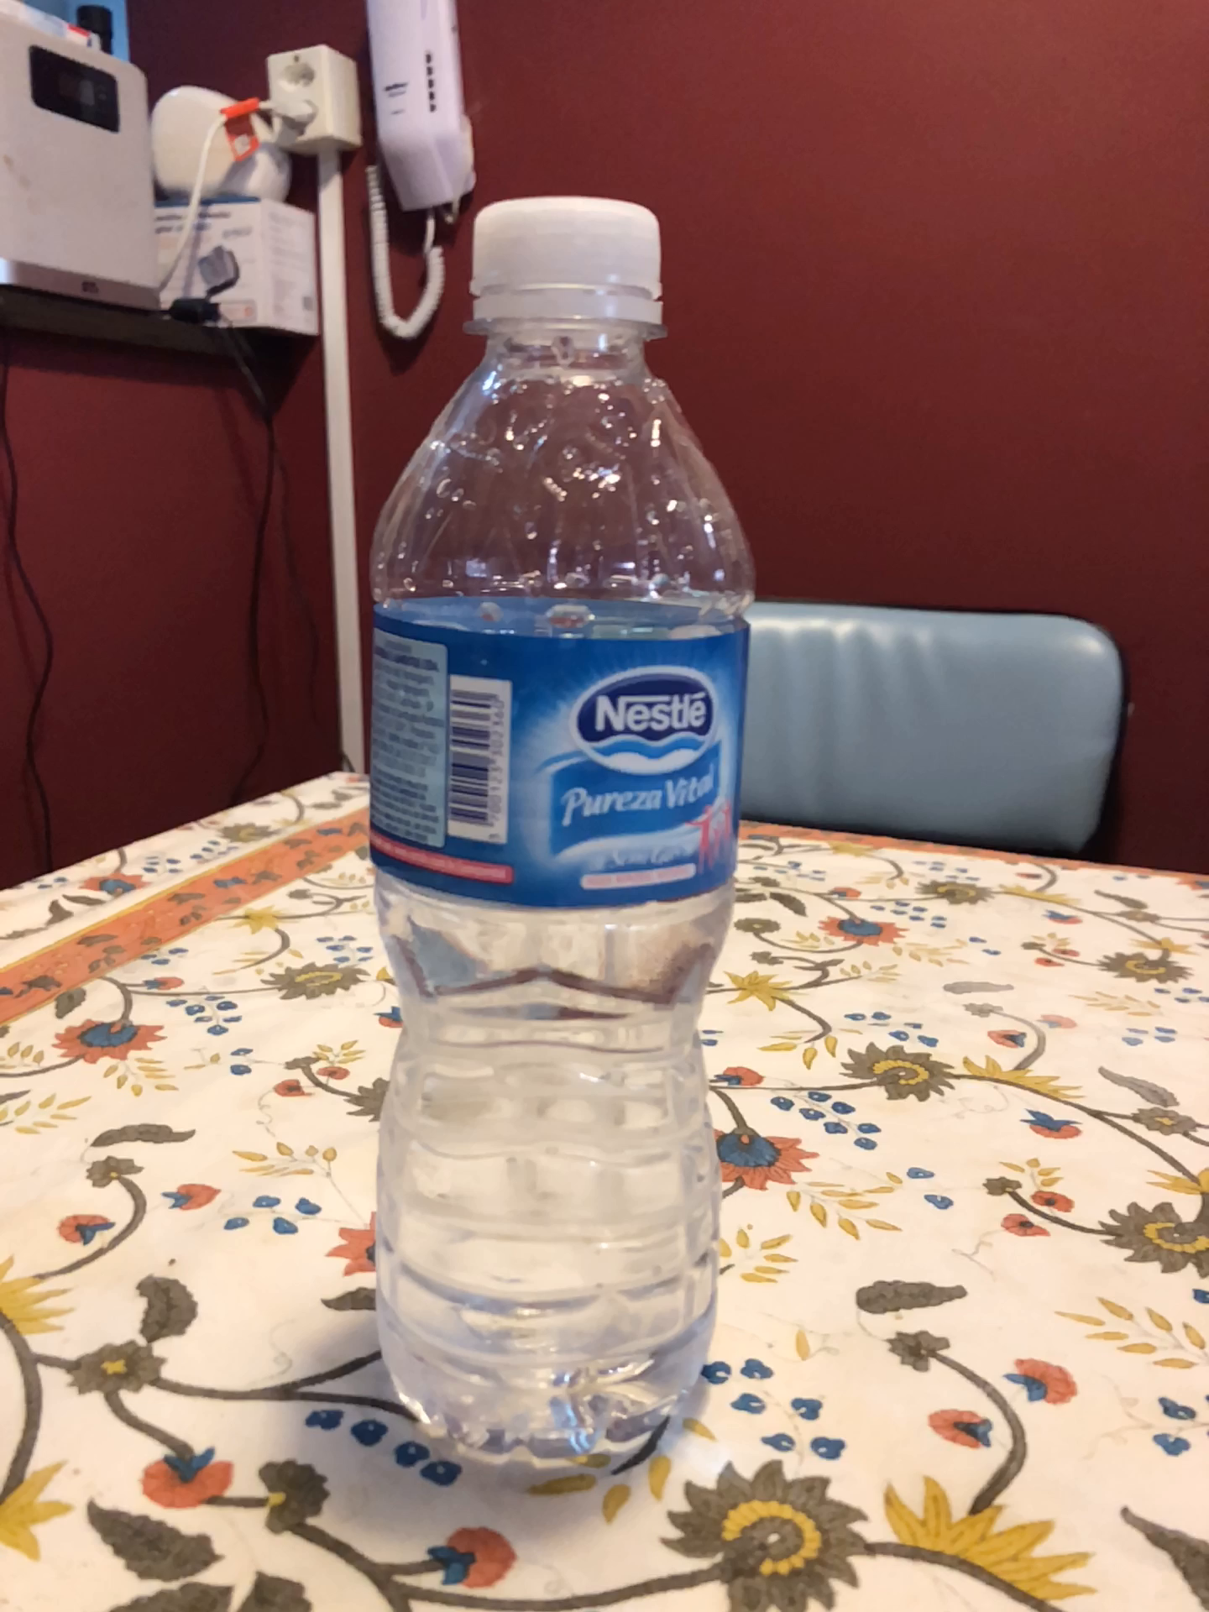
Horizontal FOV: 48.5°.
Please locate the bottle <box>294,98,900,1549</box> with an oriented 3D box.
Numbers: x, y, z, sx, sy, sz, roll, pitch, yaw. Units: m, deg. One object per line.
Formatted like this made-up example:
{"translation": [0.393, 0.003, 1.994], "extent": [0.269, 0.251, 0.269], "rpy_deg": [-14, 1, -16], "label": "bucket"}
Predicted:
{"translation": [-0.004, 0.003, 0.215], "extent": [0.060, 0.189, 0.070], "rpy_deg": [-8, 15, -31], "label": "bottle"}
